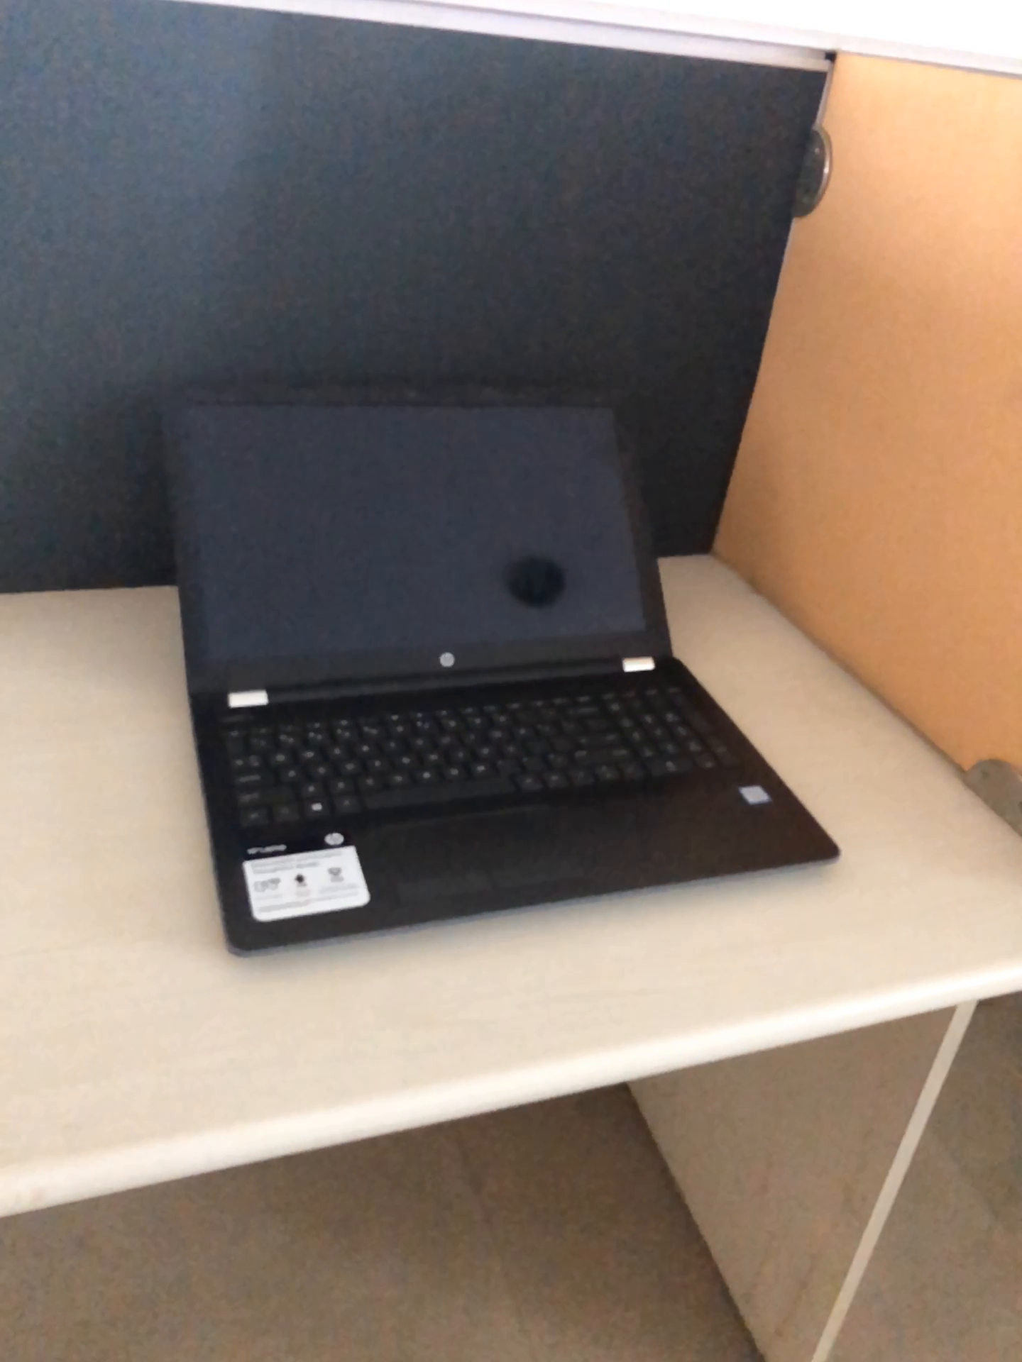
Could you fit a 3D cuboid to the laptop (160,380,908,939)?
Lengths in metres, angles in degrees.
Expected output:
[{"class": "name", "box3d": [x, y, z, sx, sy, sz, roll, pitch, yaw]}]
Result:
[{"class": "laptop", "box3d": [-0.026, -0.057, 0.784, 0.378, 0.173, 0.410, -5, 33, -19]}]
